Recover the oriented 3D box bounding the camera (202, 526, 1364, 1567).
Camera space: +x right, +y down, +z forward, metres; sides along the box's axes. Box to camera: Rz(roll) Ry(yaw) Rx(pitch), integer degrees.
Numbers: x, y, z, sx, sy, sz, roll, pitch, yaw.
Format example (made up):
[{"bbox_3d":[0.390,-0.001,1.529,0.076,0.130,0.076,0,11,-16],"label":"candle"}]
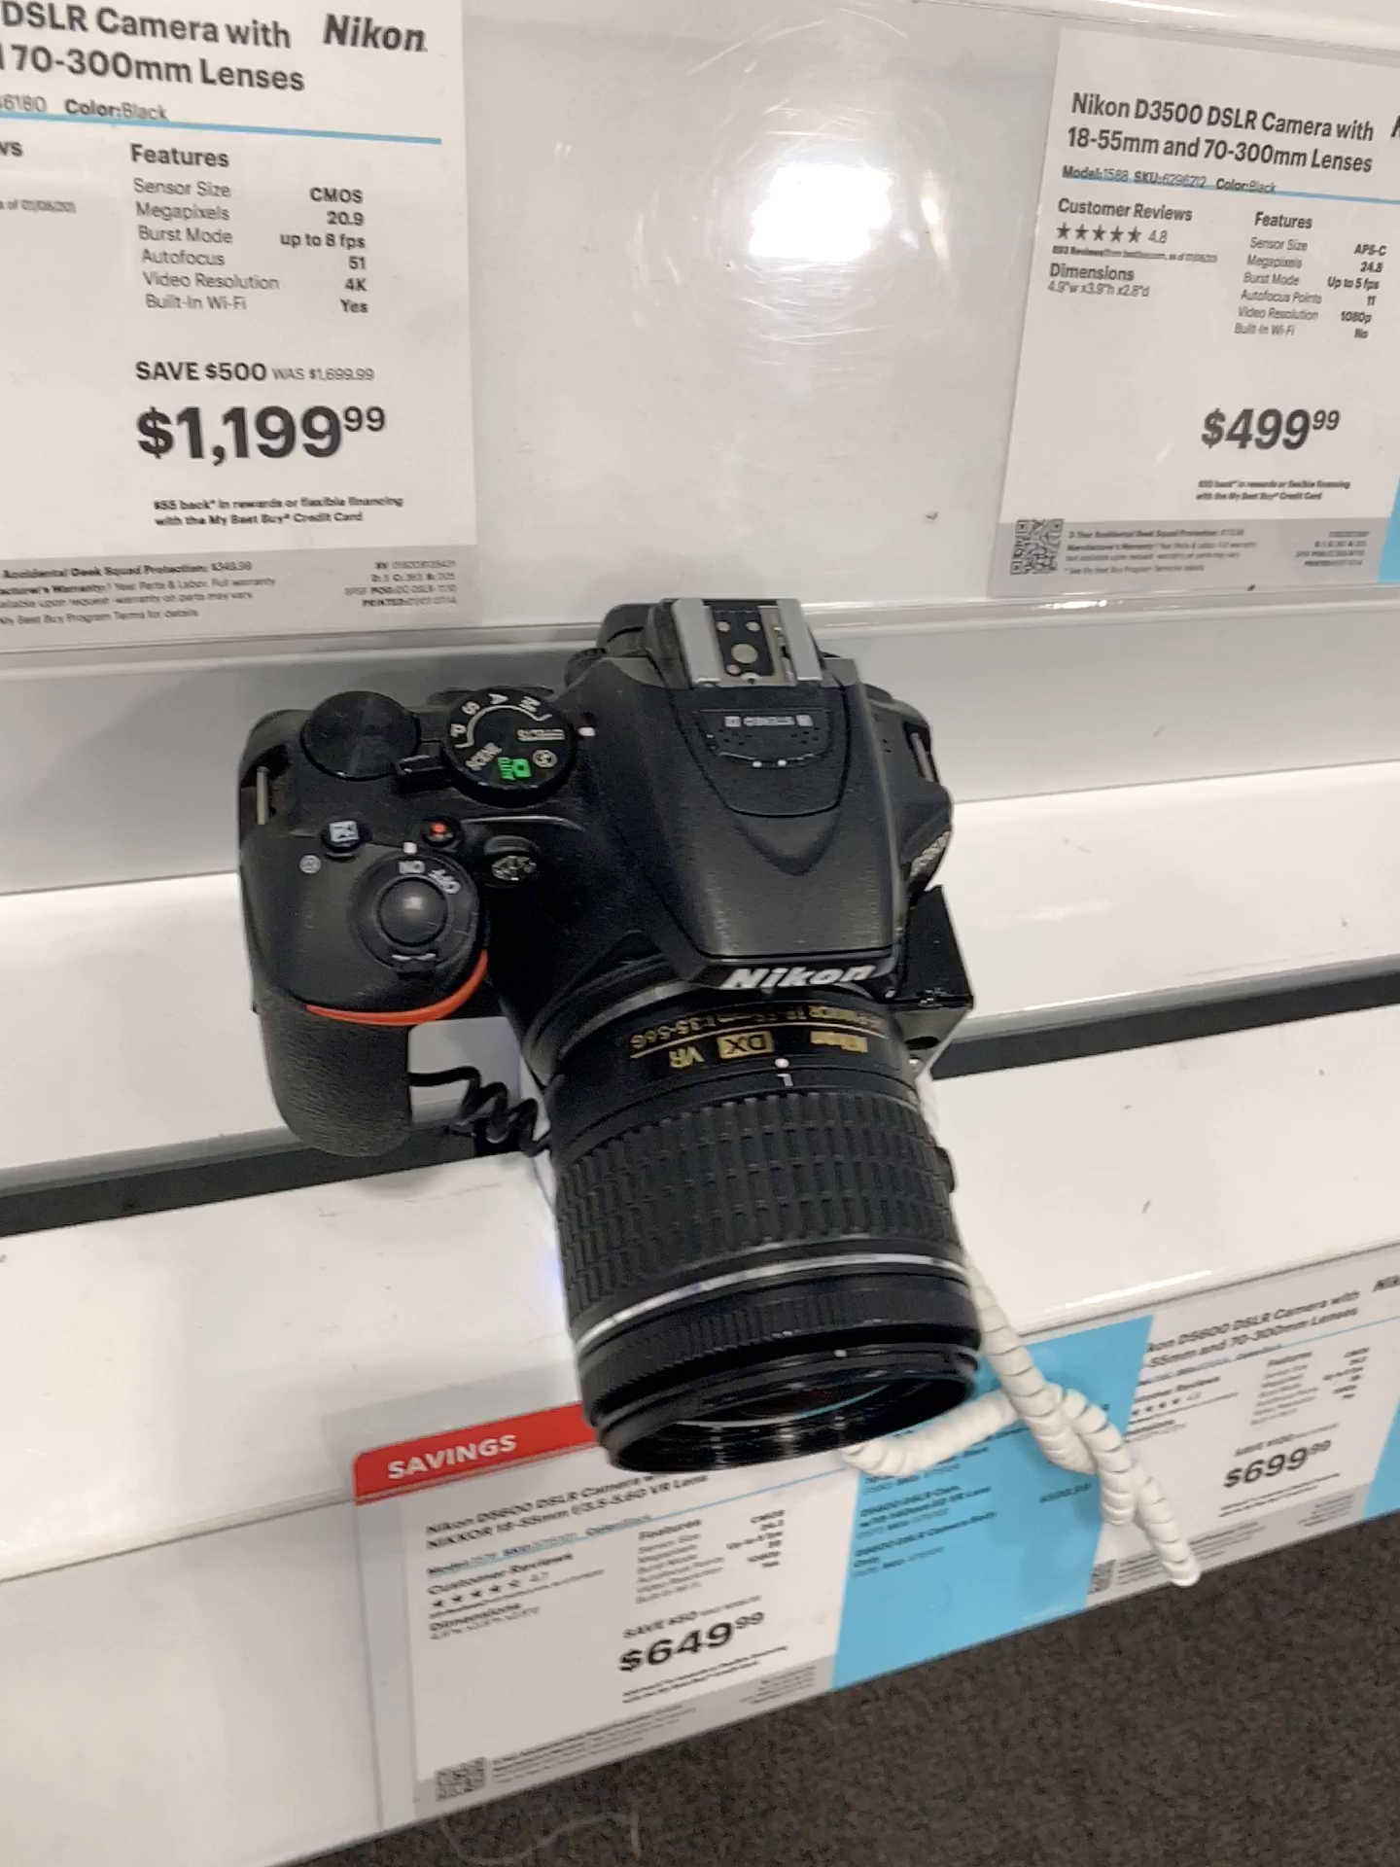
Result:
[{"bbox_3d":[-0.003,0.015,0.224,0.130,0.090,0.120,-4,62,-18],"label":"camera"}]
